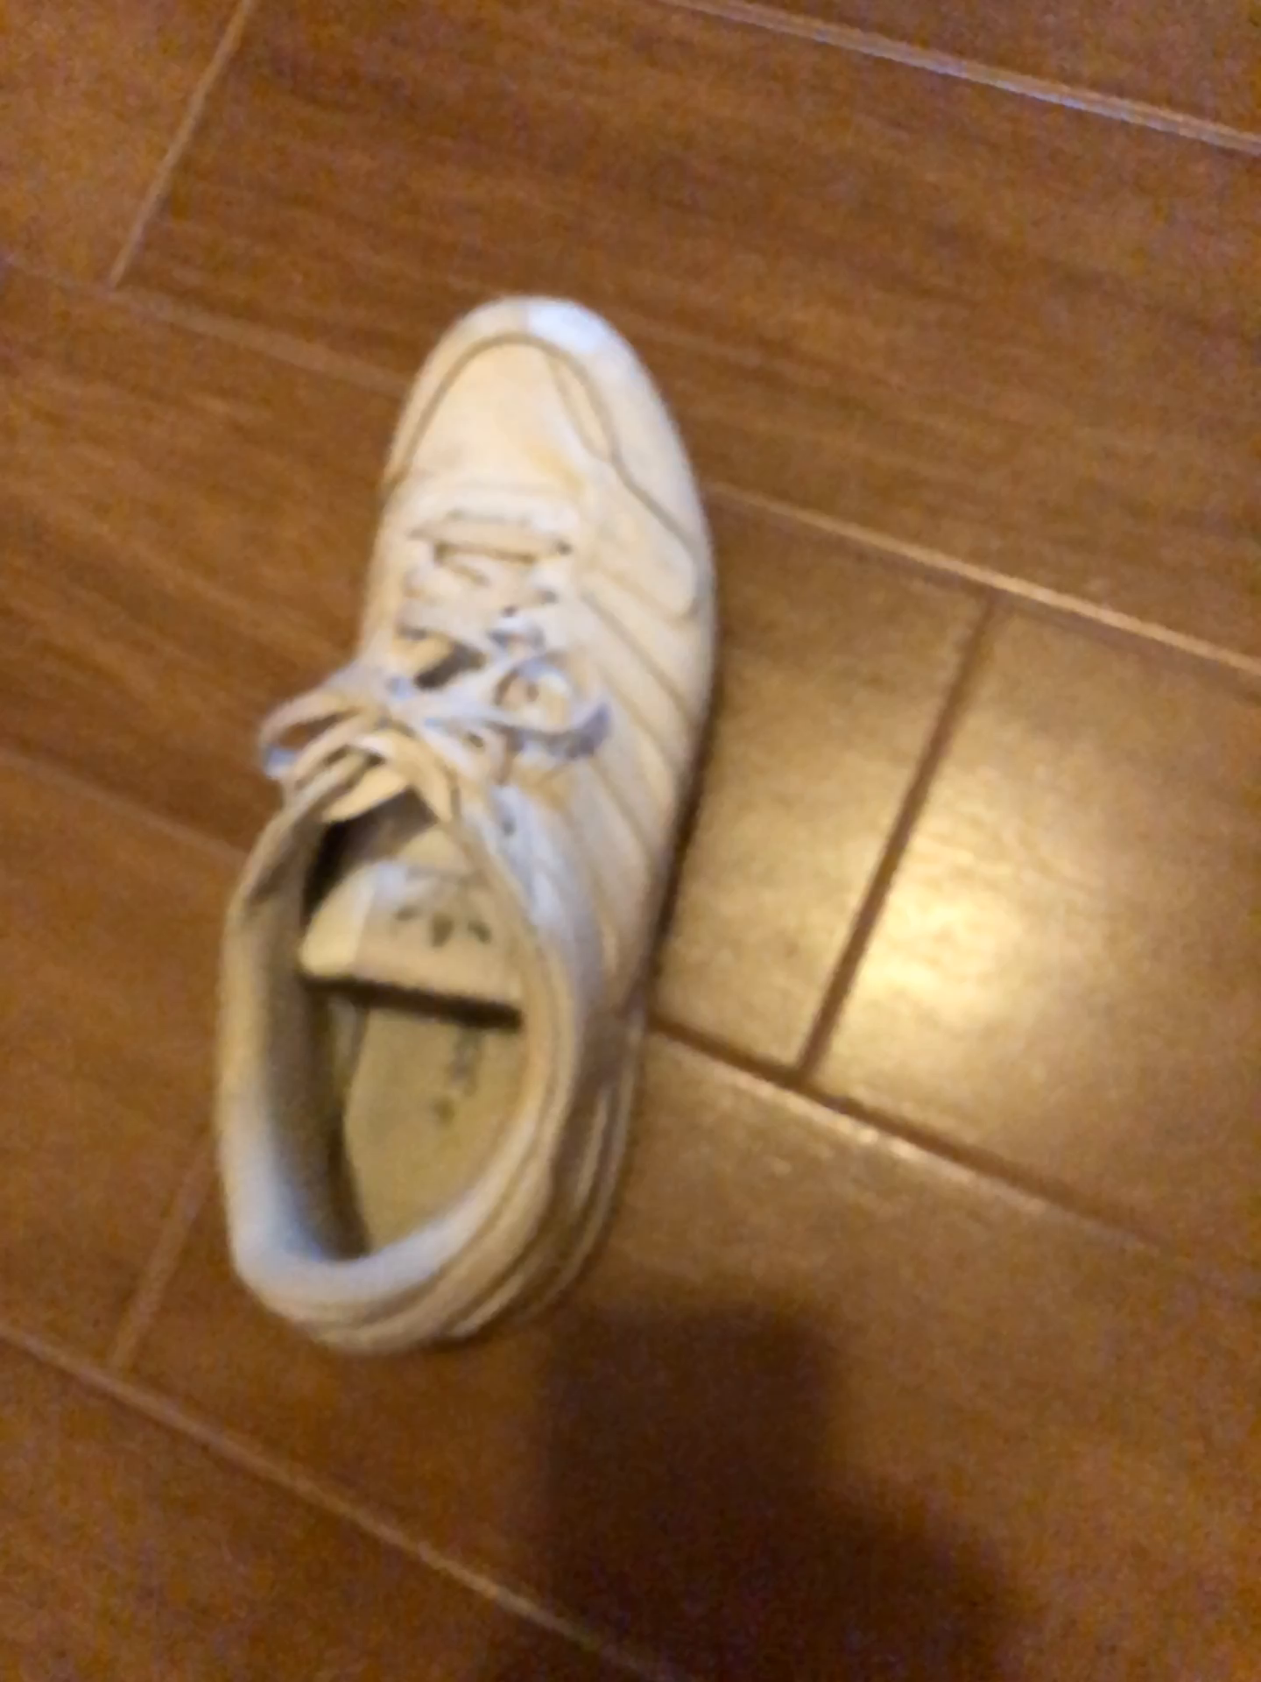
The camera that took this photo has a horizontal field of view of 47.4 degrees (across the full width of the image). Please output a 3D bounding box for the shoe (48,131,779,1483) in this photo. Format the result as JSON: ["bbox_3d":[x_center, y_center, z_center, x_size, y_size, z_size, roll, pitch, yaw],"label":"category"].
[{"bbox_3d":[-0.041,-0.014,0.392,0.120,0.120,0.310,6,81,10],"label":"shoe"}]
